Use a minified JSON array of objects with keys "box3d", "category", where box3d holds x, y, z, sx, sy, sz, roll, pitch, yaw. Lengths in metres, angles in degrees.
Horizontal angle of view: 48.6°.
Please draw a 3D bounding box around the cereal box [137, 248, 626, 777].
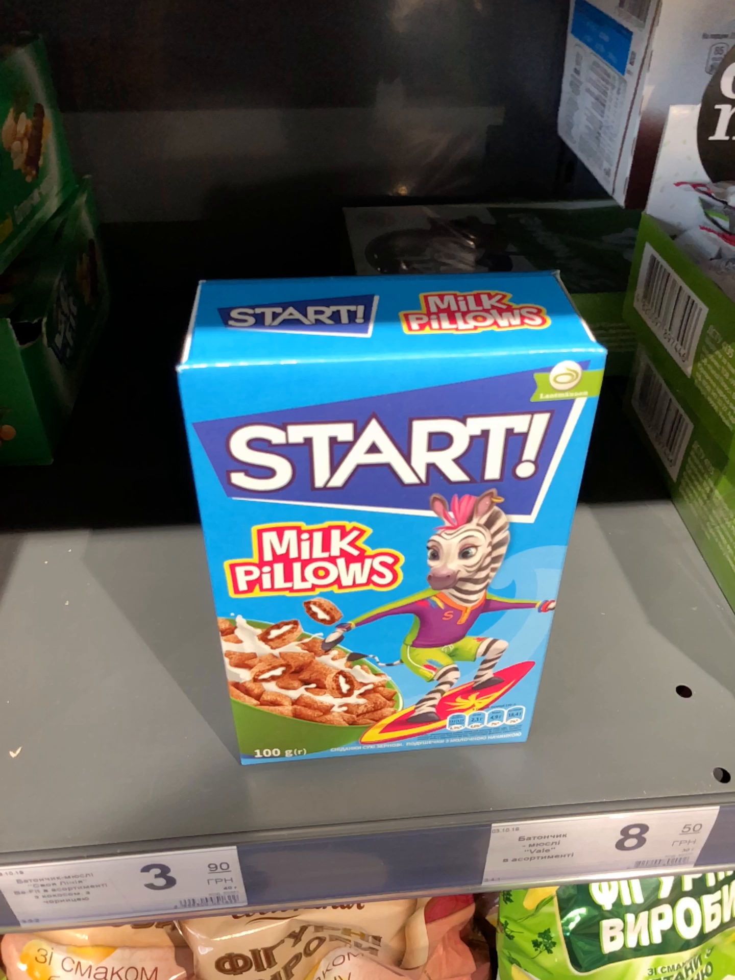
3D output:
[{"box3d":[0.001,0.014,0.279,0.120,0.169,0.071,-3,38,-4],"category":"cereal box"}]
